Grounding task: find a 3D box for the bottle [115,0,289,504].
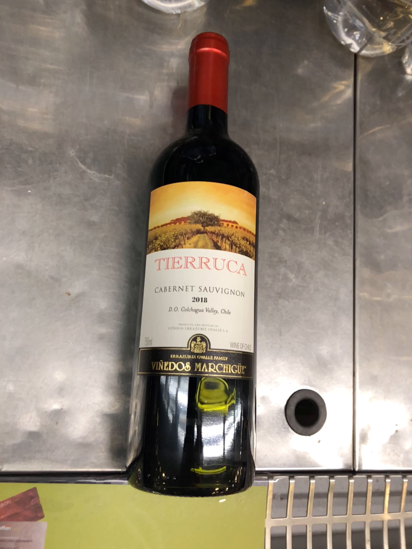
[{"bbox_3d":[0.002,-0.033,0.286,0.080,0.050,0.310,7,78,-19],"label":"bottle"}]
